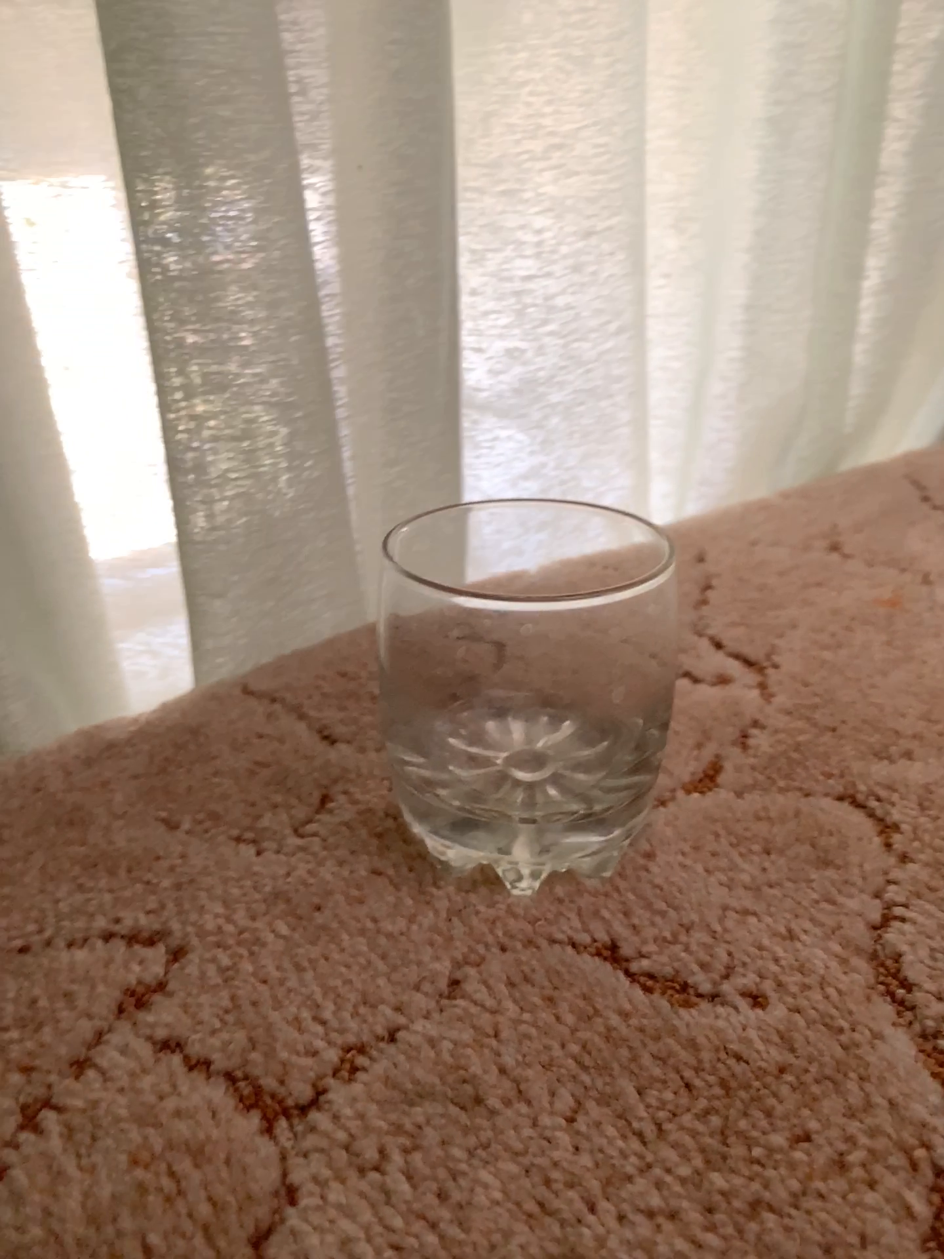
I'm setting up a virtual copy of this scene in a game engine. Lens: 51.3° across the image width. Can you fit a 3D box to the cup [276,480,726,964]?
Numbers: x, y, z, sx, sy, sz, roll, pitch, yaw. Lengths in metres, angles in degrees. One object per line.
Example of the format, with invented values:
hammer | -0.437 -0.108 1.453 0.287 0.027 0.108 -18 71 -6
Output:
cup | 0.011 0.018 0.281 0.090 0.089 0.080 16 32 37
